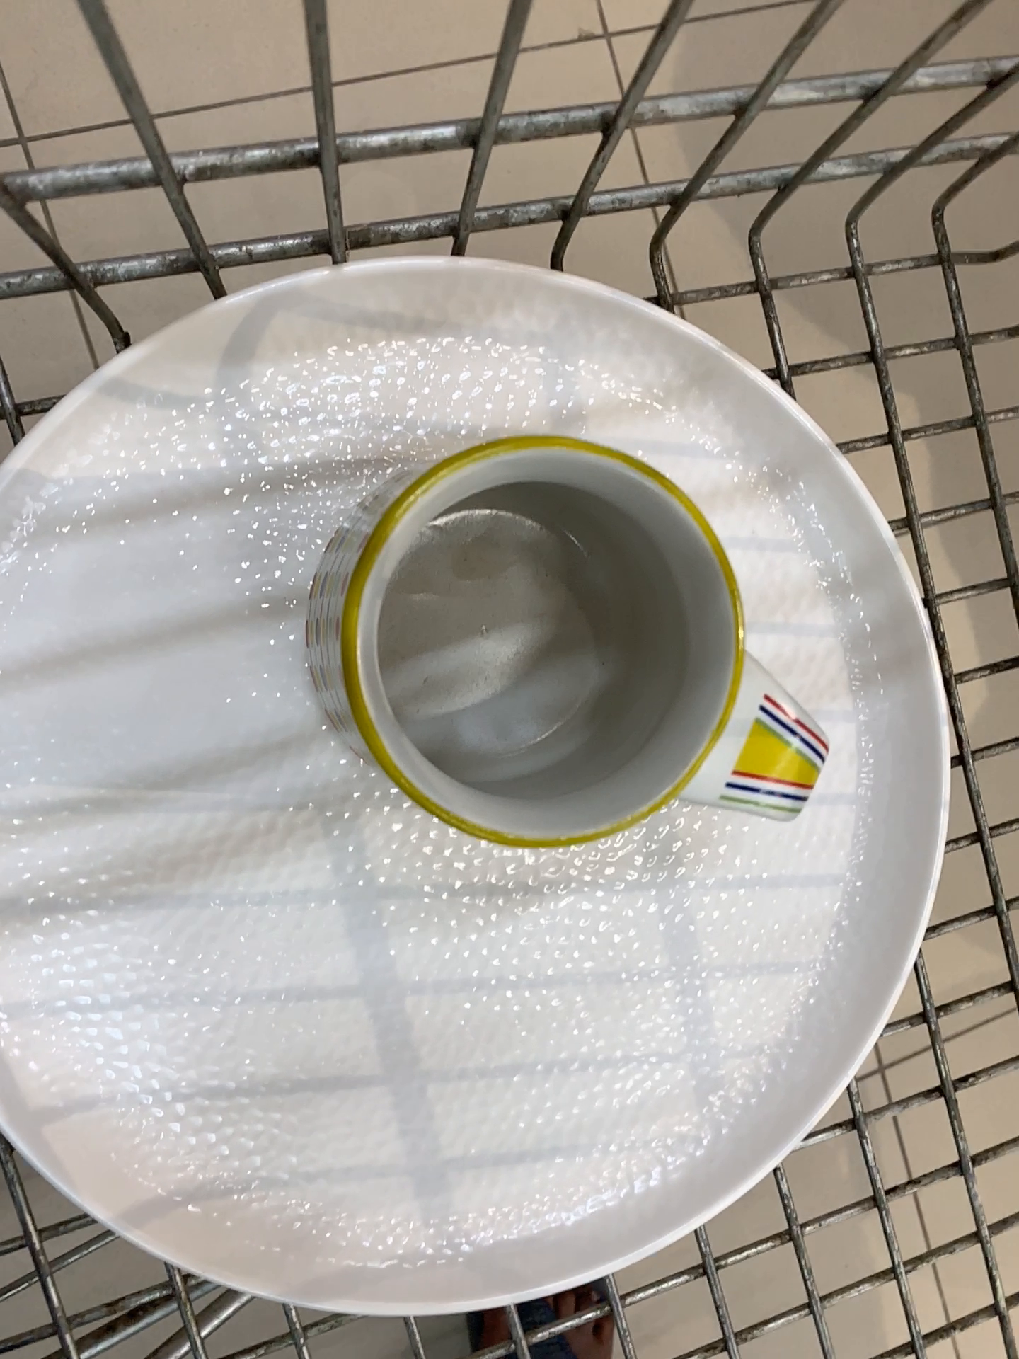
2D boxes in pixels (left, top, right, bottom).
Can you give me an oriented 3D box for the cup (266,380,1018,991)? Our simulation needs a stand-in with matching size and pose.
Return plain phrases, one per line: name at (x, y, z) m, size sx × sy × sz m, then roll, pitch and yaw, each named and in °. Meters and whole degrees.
cup at (0.018, 0.003, 0.209) m, size 0.120 × 0.100 × 0.080 m, roll 7°, pitch 91°, yaw -14°
